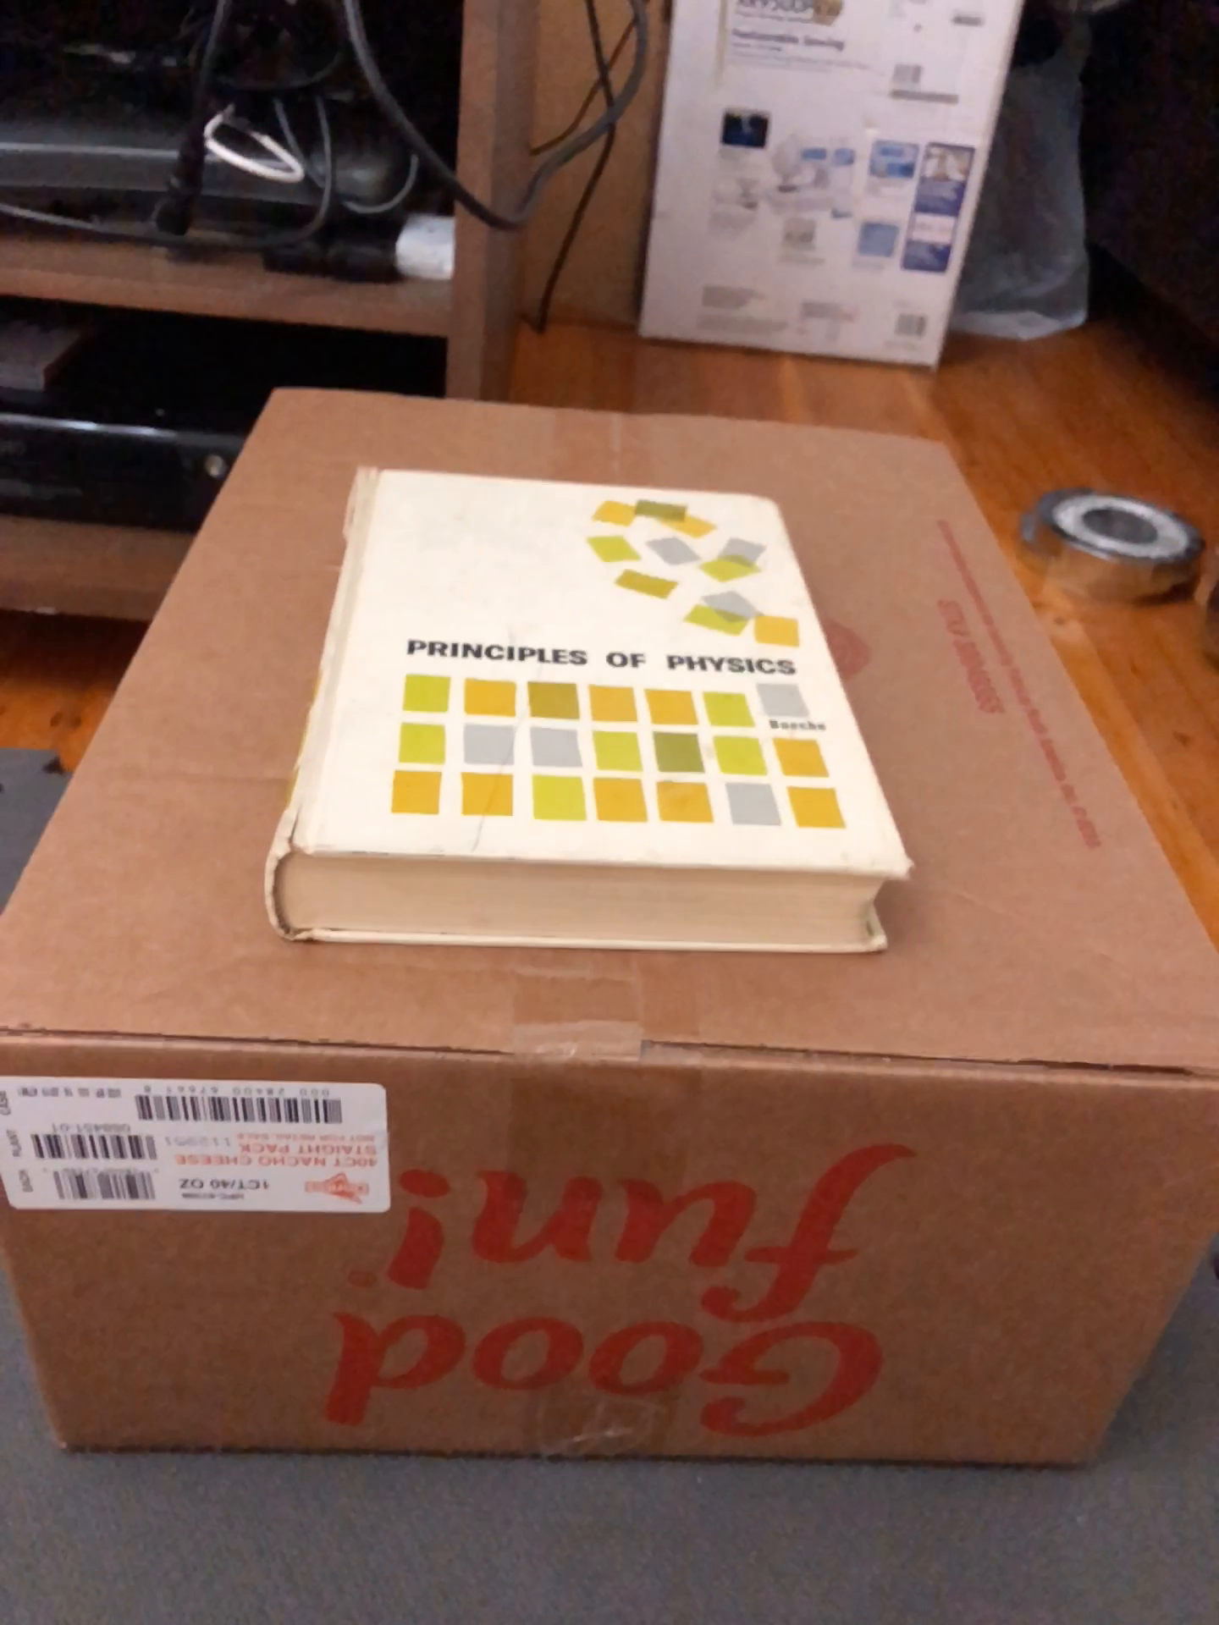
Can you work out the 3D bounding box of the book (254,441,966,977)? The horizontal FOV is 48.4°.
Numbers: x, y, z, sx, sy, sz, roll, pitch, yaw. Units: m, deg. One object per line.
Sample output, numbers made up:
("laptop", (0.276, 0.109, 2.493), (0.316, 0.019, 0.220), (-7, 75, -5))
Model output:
("book", (-0.005, -0.050, 0.453), (0.180, 0.040, 0.251), (2, 37, -5))
